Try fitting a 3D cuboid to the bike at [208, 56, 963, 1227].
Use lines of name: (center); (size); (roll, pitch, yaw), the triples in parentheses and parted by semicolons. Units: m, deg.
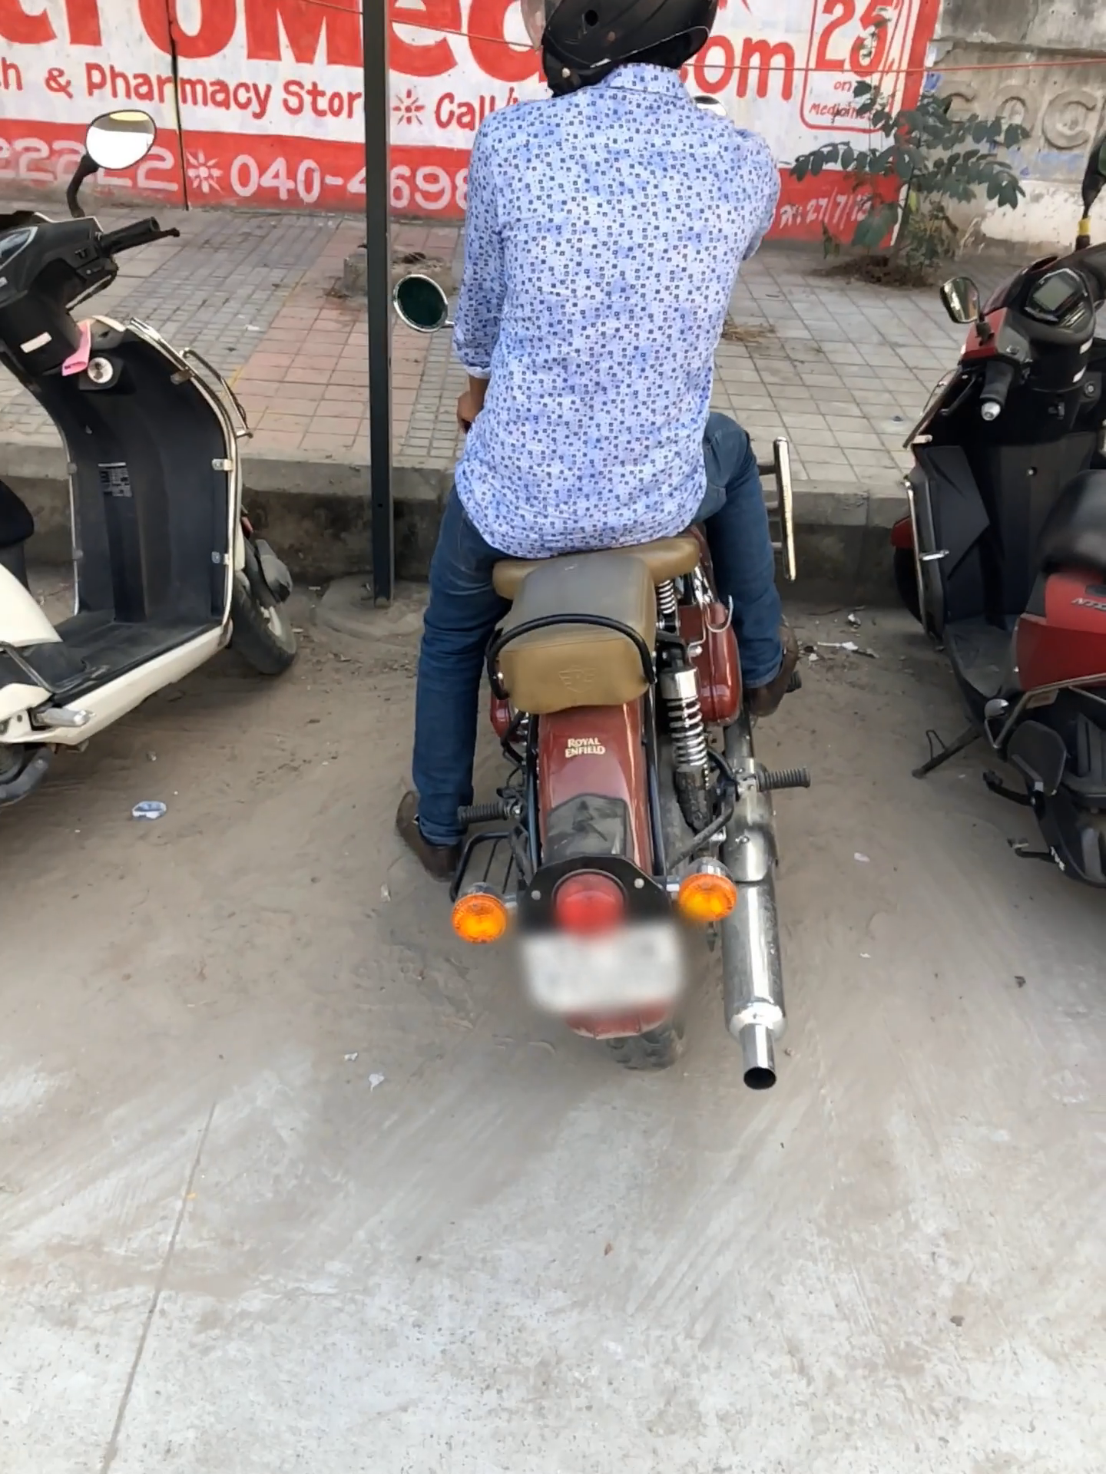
bike: (0.016, -0.304, 2.192); (0.792, 1.255, 1.558); (4, 37, 0)
